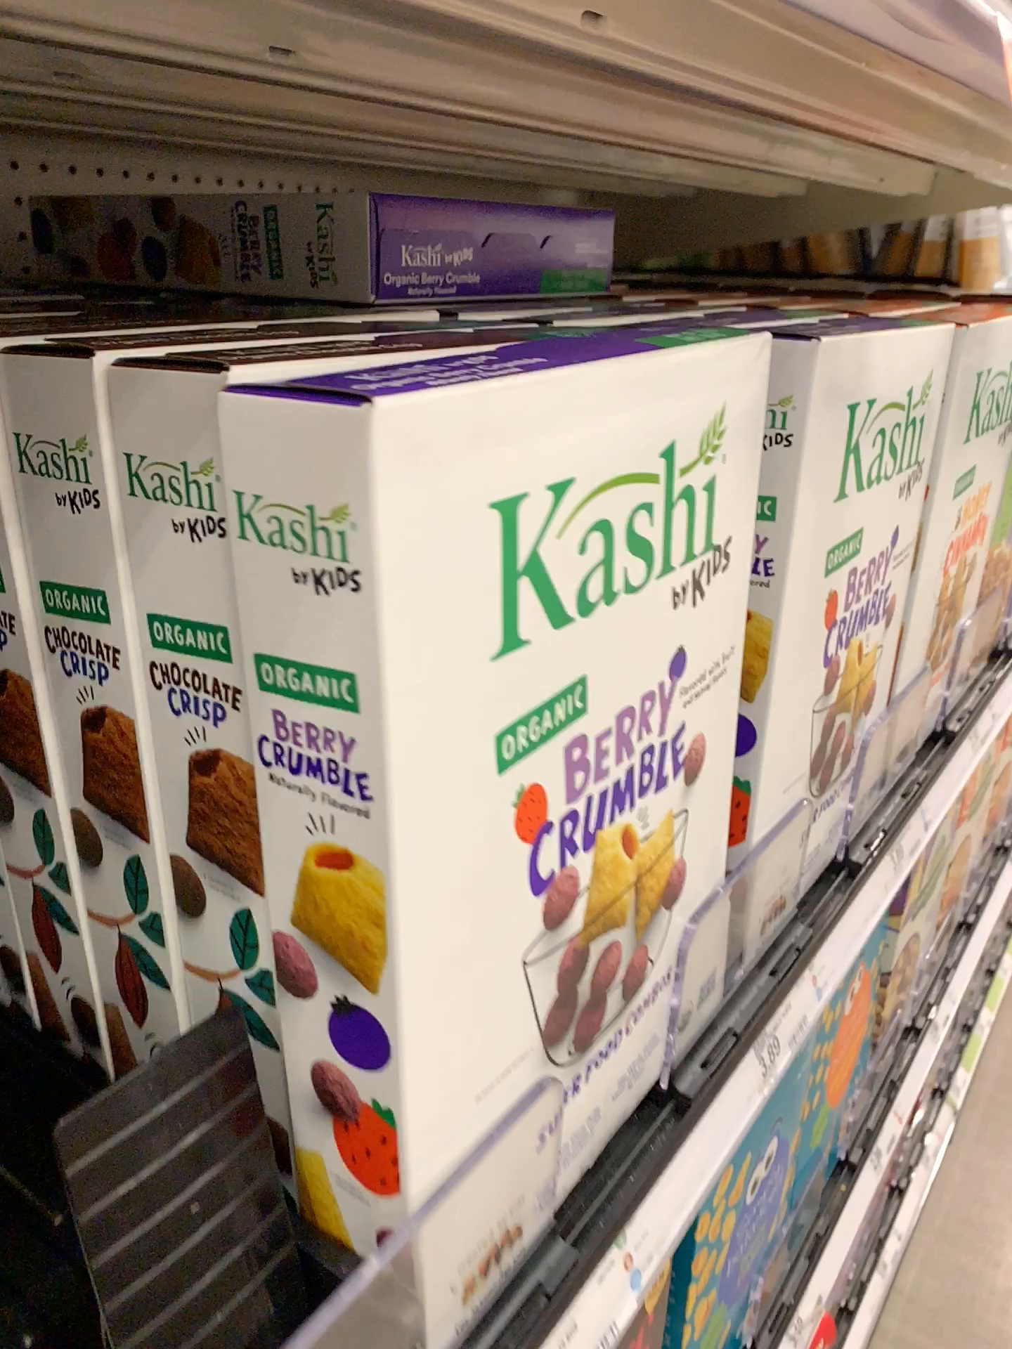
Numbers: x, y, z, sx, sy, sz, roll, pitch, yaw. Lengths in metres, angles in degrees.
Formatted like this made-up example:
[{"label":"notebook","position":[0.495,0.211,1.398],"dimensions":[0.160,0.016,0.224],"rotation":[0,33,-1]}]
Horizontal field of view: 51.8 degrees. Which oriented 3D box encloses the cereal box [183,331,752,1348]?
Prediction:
[{"label":"cereal box","position":[0.004,0.045,0.328],"dimensions":[0.050,0.279,0.191],"rotation":[15,25,30]}]
